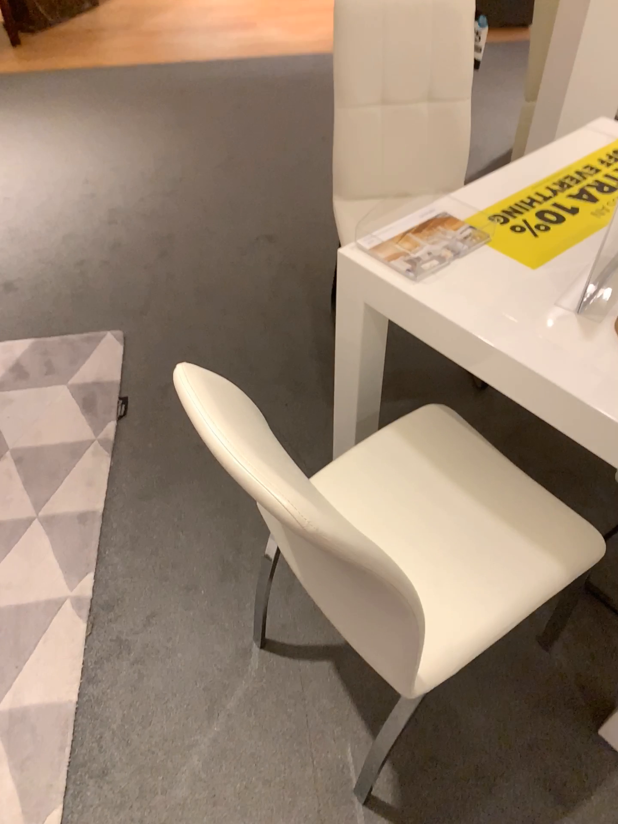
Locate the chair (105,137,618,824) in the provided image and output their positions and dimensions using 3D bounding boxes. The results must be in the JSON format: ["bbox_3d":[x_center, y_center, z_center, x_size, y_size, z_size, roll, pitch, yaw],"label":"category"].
[{"bbox_3d":[0.174,0.185,1.038,0.611,0.937,0.490,-32,54,-25],"label":"chair"}]

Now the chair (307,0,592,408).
[{"bbox_3d":[0.272,-0.551,1.700,0.477,0.908,0.574,-5,47,-3],"label":"chair"}]
